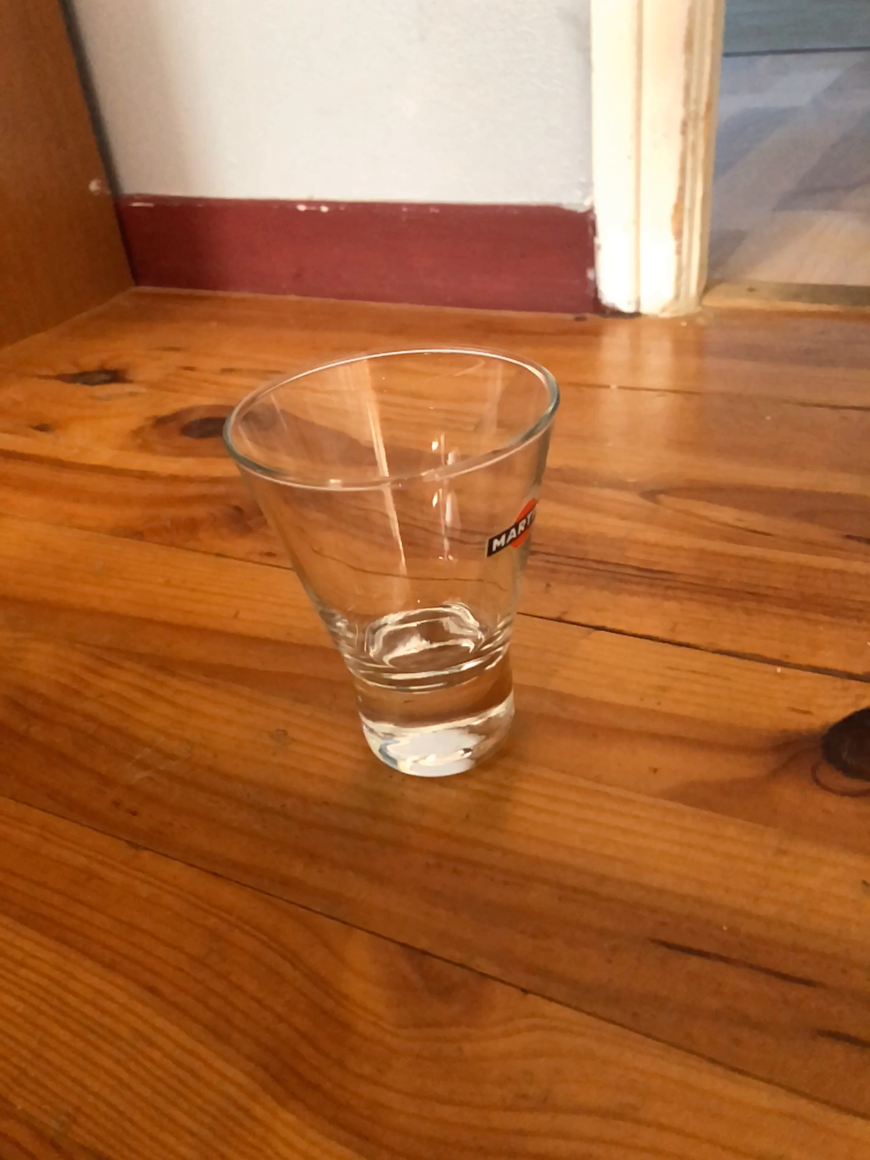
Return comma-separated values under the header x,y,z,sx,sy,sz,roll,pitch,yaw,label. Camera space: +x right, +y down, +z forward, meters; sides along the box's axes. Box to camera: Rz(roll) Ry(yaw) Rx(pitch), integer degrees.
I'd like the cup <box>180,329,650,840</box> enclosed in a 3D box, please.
x,y,z,sx,sy,sz,roll,pitch,yaw,label
0.000,-0.006,0.280,0.088,0.097,0.092,-4,33,3,cup
